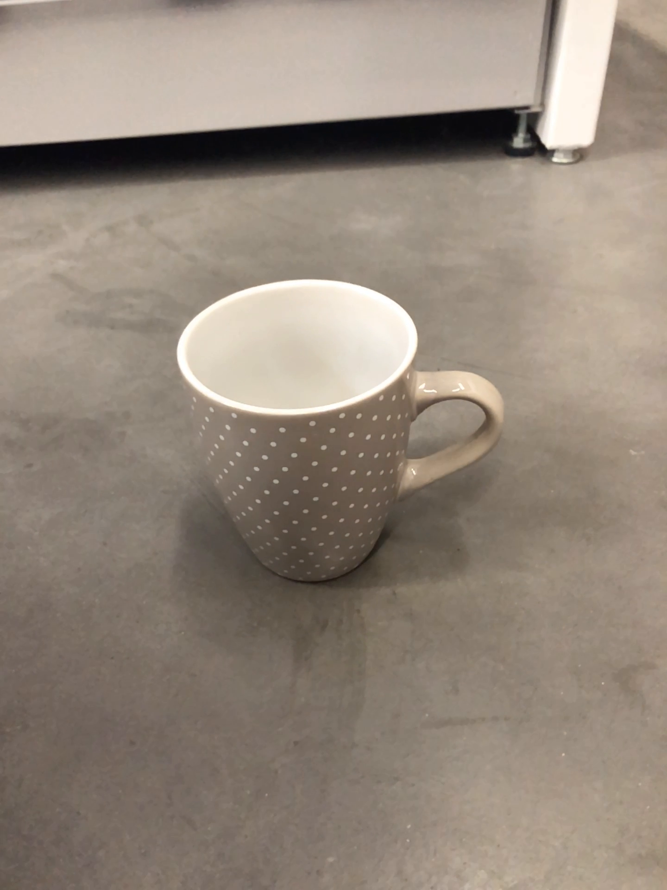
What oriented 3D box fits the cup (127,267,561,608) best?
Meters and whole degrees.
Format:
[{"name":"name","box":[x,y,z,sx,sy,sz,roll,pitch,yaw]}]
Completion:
[{"name":"cup","box":[0.007,-0.002,0.309,0.141,0.107,0.092,-1,41,3]}]
